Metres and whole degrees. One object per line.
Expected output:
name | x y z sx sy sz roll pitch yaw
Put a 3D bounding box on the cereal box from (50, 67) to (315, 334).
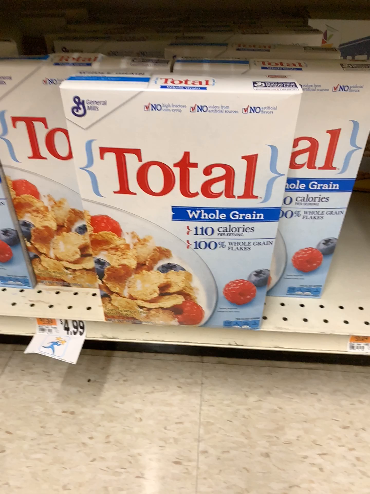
cereal box | -0.002 -0.027 0.390 0.200 0.278 0.050 3 38 4
